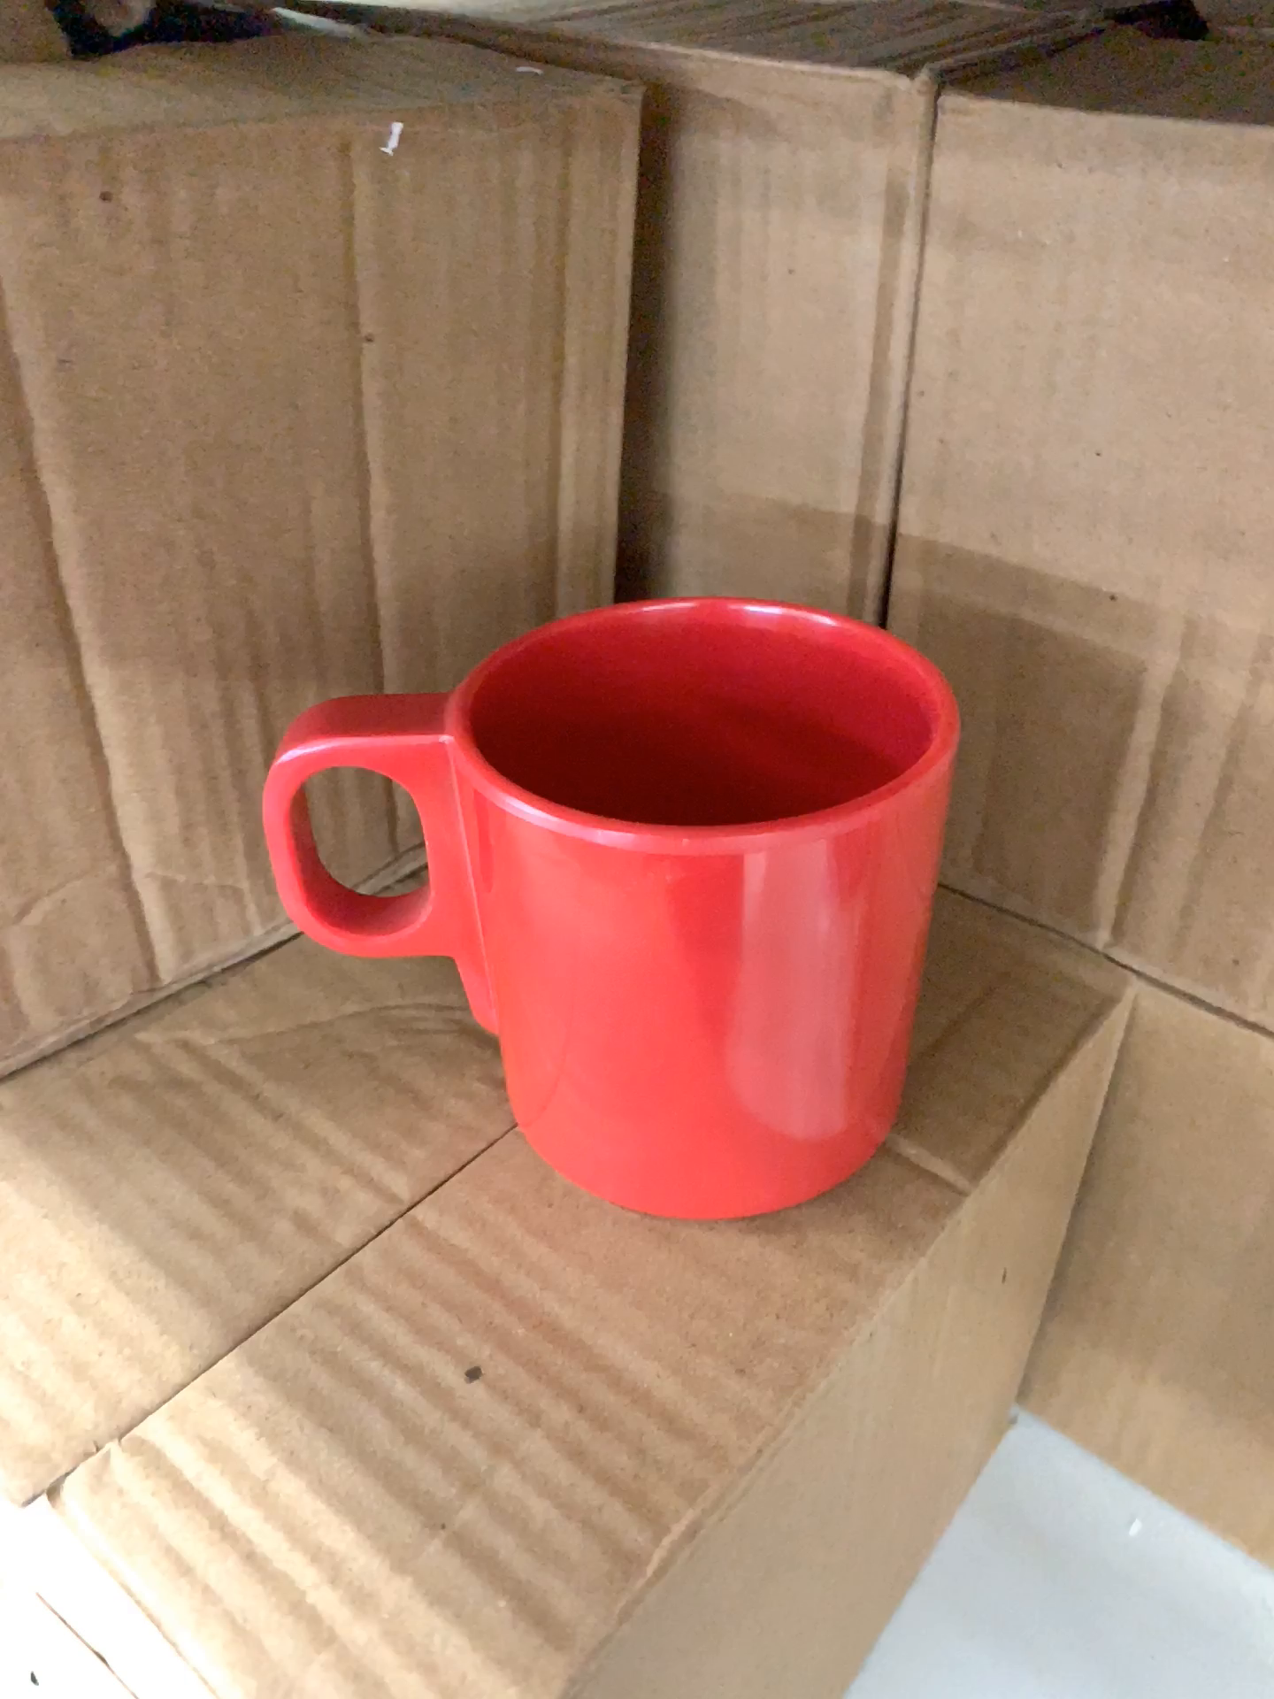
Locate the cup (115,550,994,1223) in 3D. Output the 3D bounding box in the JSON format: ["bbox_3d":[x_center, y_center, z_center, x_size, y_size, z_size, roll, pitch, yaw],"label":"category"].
[{"bbox_3d":[-0.008,0.004,0.217,0.110,0.079,0.071,2,36,4],"label":"cup"}]
